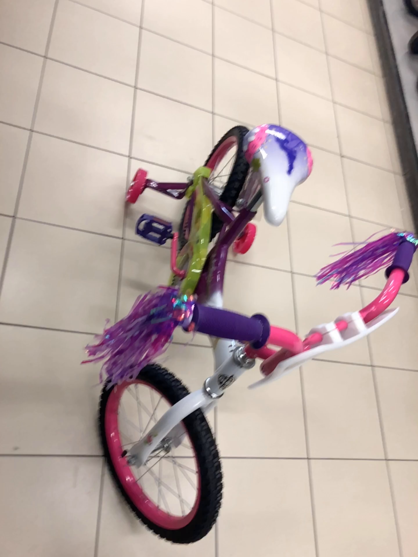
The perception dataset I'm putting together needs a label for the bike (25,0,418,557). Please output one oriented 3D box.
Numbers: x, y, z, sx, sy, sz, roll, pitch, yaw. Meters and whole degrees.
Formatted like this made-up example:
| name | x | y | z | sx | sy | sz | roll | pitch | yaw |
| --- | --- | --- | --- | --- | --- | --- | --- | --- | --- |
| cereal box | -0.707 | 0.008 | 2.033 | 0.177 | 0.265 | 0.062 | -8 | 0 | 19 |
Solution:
| name | x | y | z | sx | sy | sz | roll | pitch | yaw |
| --- | --- | --- | --- | --- | --- | --- | --- | --- | --- |
| bike | 0.089 | -0.024 | 0.981 | 0.595 | 0.810 | 1.069 | 16 | 62 | -20 |
